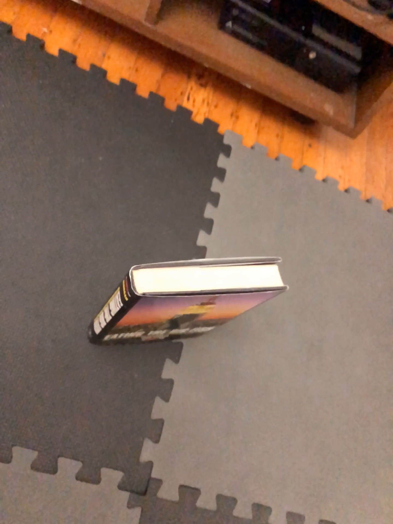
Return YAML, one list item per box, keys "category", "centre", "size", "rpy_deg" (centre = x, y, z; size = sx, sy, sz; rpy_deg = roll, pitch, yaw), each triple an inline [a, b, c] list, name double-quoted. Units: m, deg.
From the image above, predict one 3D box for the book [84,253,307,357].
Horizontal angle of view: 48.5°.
- category: "book"
  centre: [-0.022, 0.060, 0.522]
  size: [0.180, 0.259, 0.050]
  rpy_deg: [-3, 73, -23]
